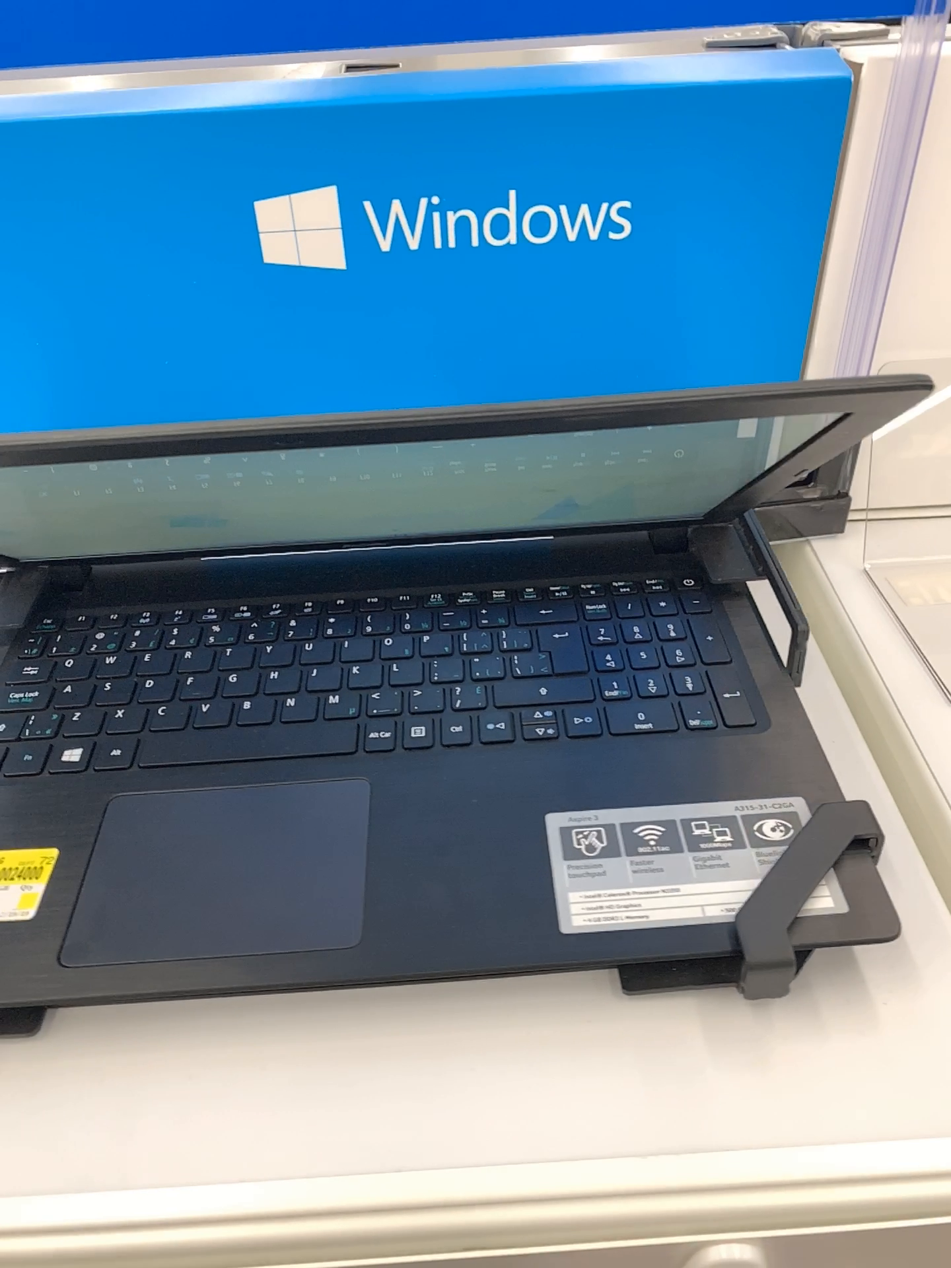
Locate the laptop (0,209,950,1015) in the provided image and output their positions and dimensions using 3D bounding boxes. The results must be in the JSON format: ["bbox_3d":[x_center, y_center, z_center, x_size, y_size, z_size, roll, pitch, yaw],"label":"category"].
[{"bbox_3d":[-0.049,-0.027,0.339,0.344,0.147,0.227,-4,39,-1],"label":"laptop"}]
